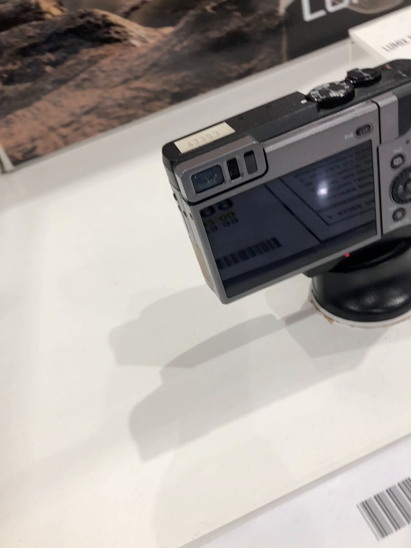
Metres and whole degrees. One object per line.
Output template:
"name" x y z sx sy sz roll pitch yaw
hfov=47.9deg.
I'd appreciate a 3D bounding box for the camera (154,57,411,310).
"camera" 0.042 -0.038 0.196 0.107 0.065 0.030 -23 37 -5
